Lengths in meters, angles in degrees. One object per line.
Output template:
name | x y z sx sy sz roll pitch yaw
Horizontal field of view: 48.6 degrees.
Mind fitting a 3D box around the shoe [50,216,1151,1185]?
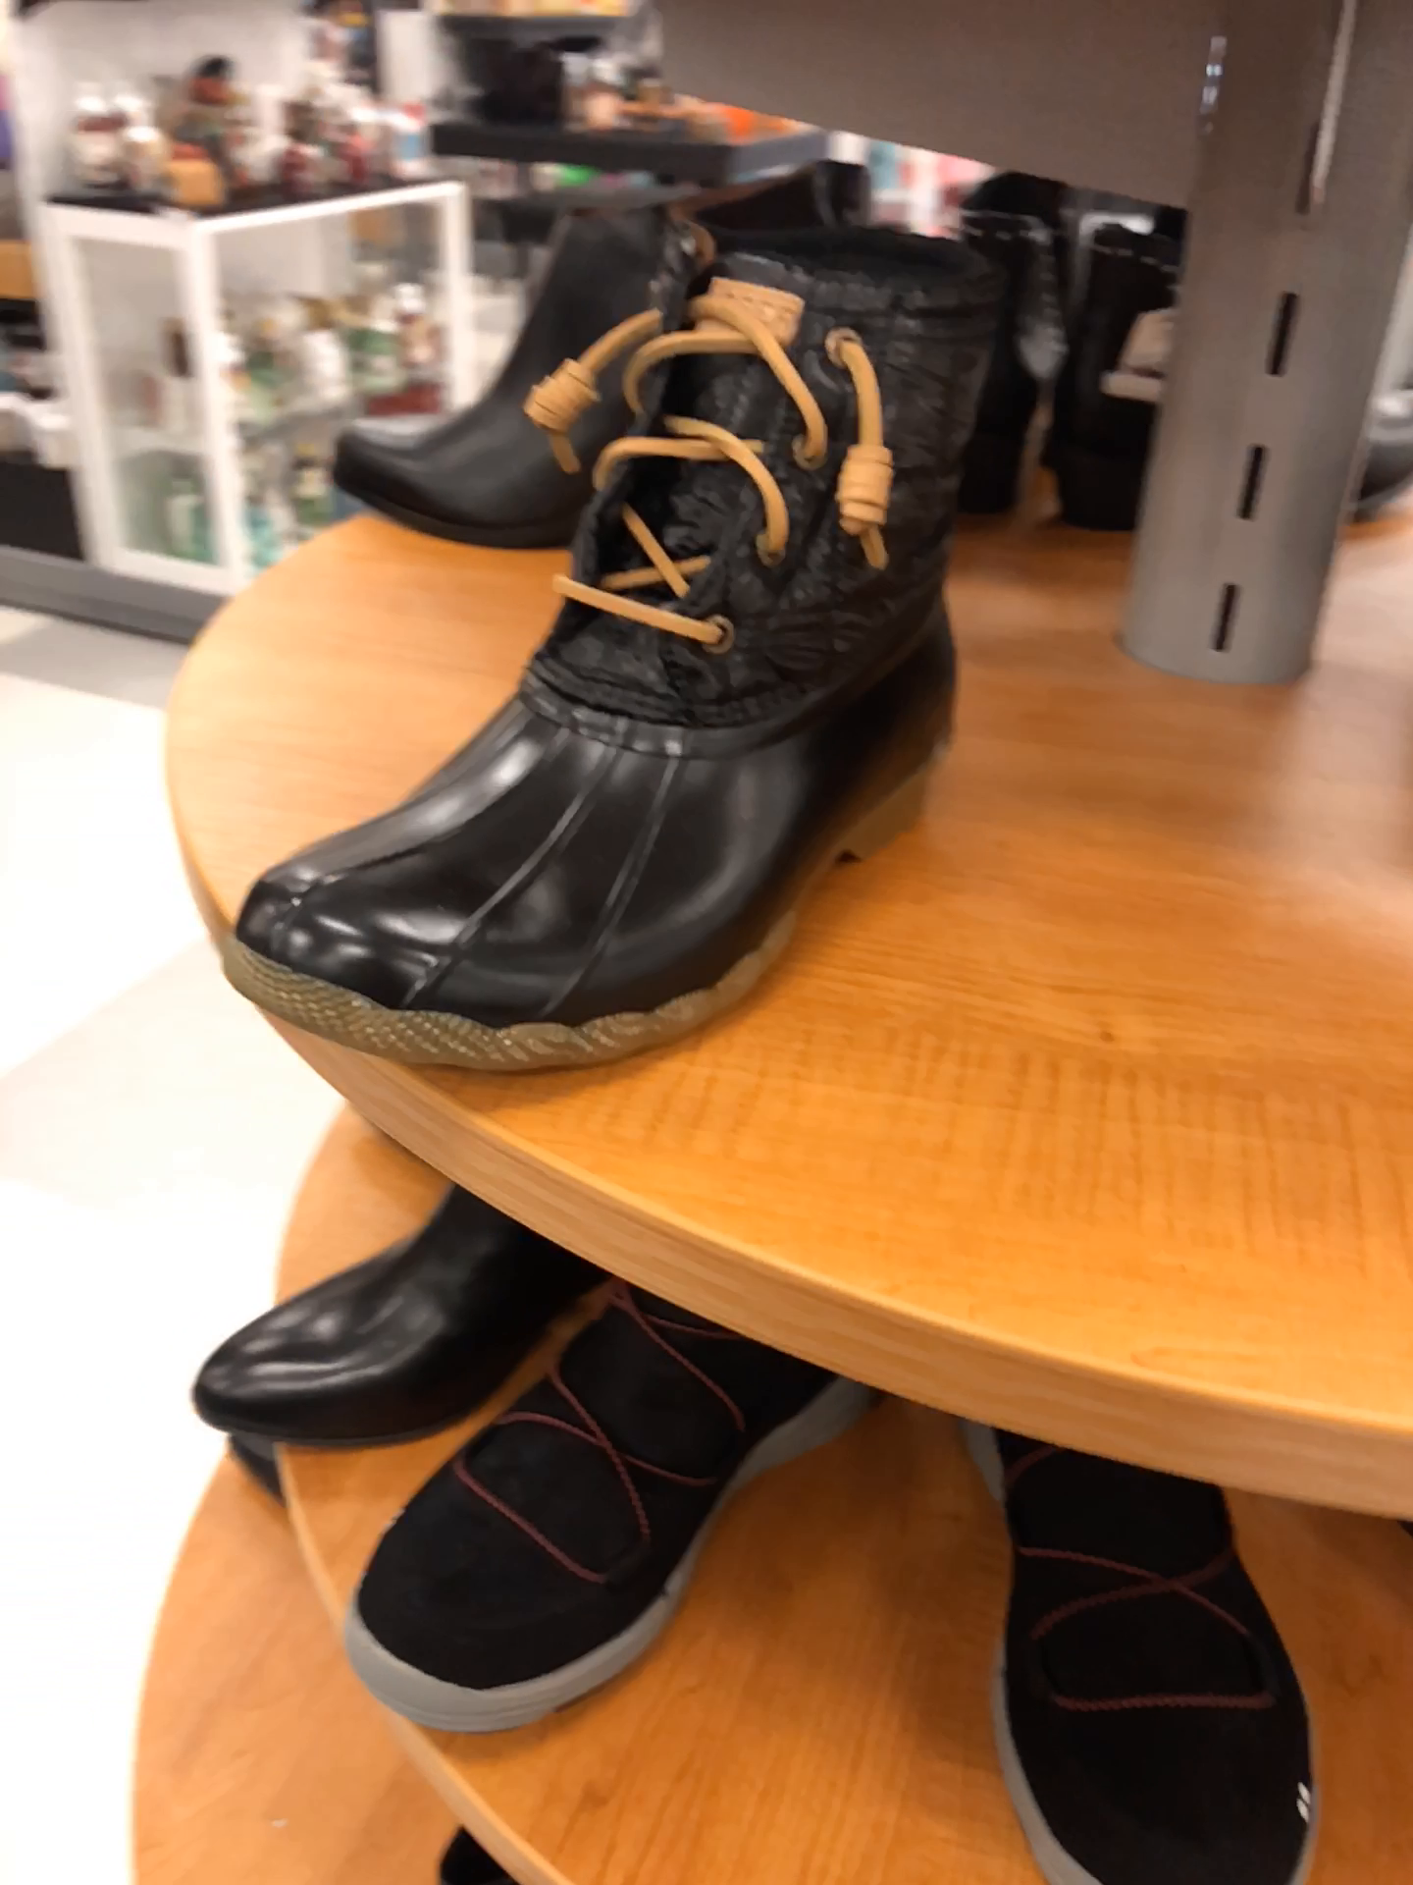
shoe | -0.009 -0.081 0.384 0.112 0.156 0.231 24 37 35
